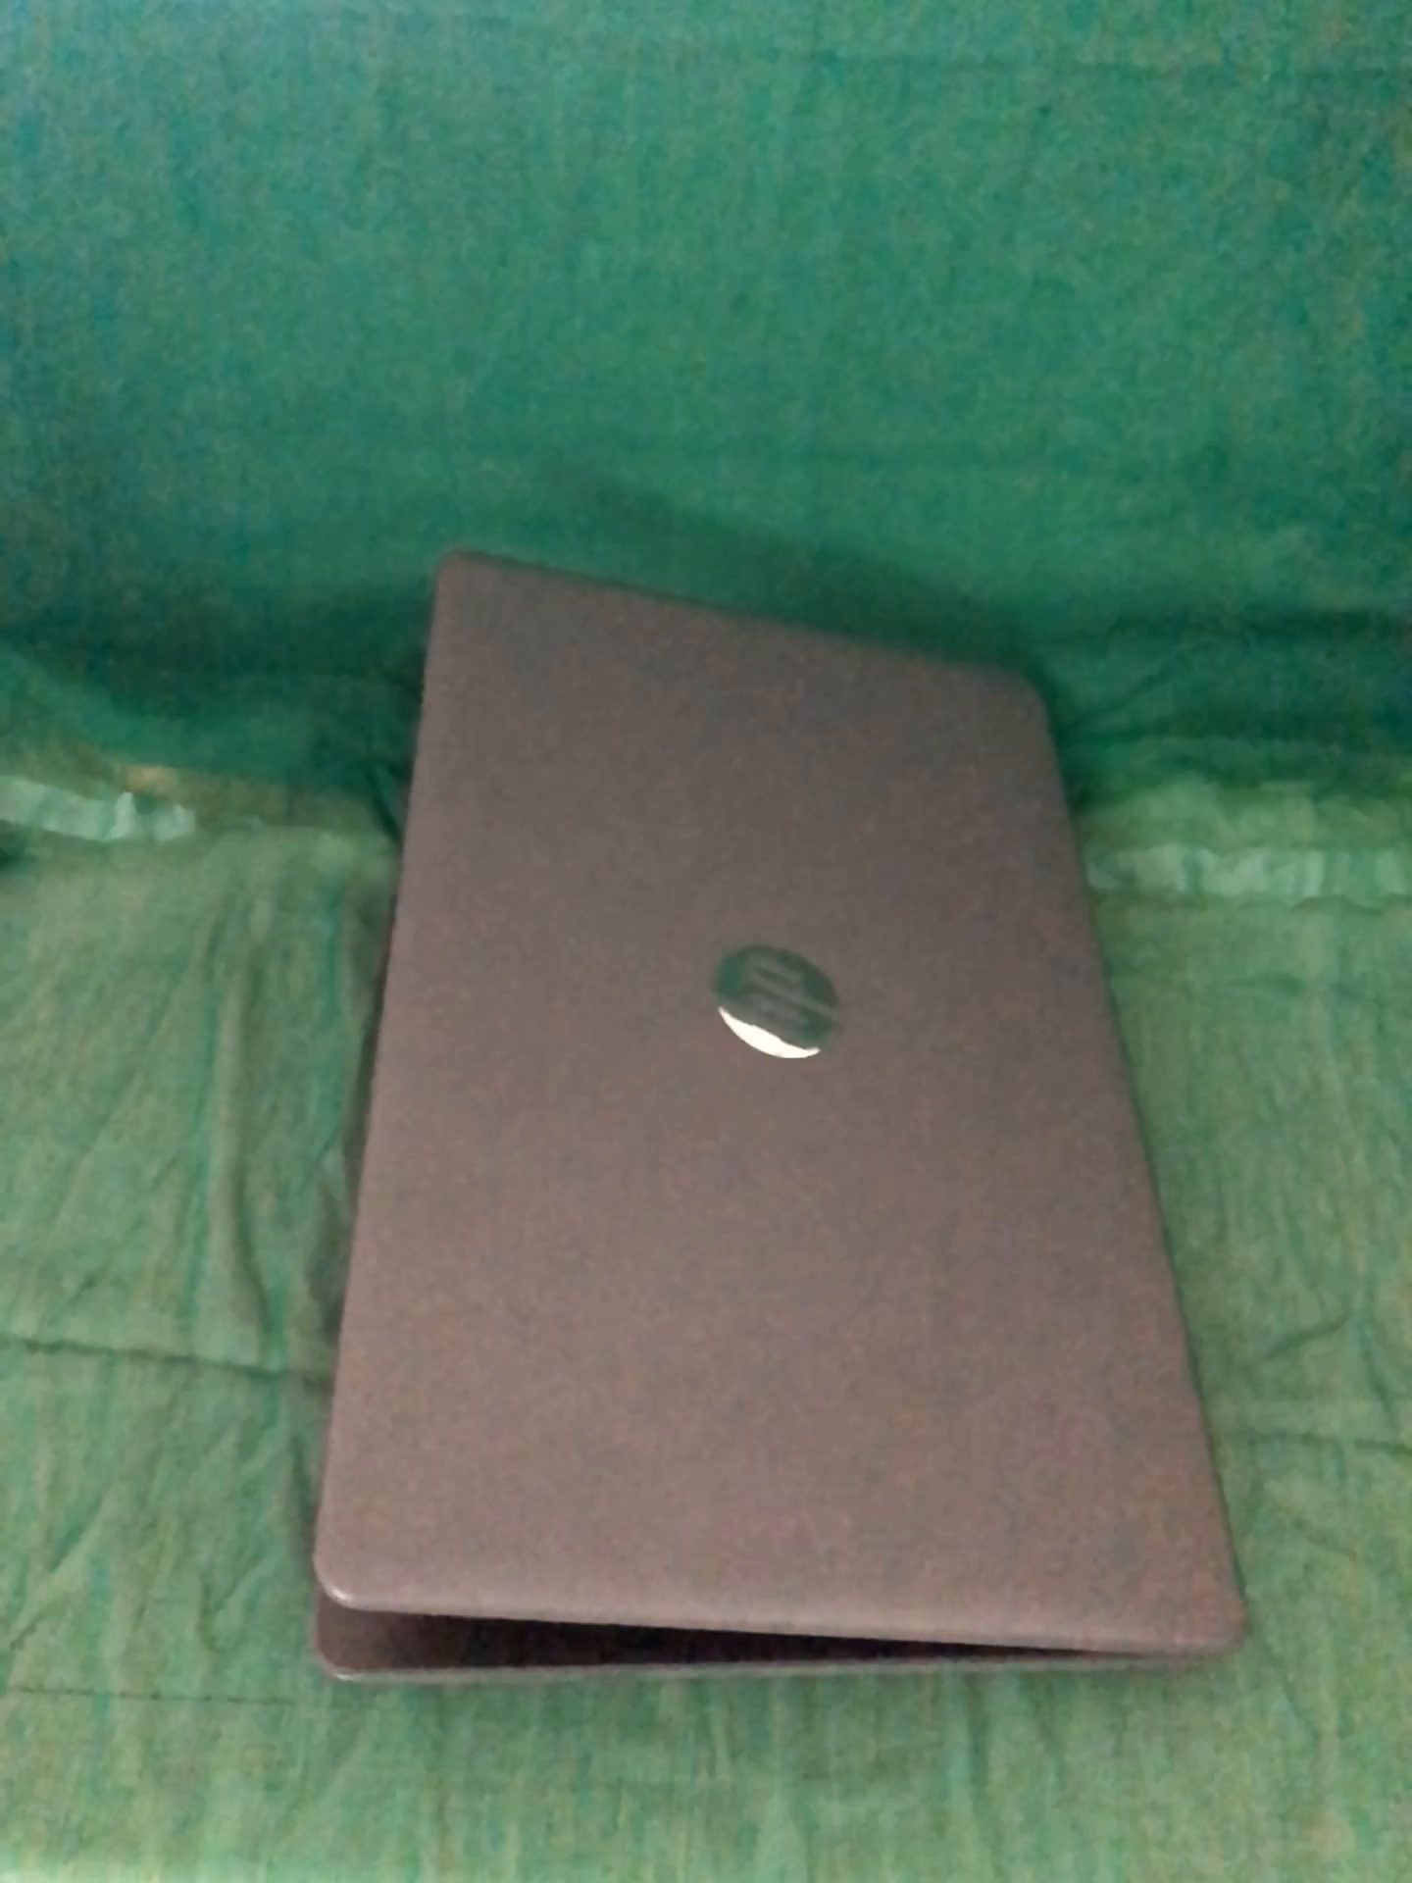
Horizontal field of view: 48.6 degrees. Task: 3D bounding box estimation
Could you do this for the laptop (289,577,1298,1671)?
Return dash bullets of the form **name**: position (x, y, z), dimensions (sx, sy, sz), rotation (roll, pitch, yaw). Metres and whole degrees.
- **laptop**: position (0.018, 0.029, 0.495), dimensions (0.231, 0.066, 0.361), rotation (1, 51, -2)
